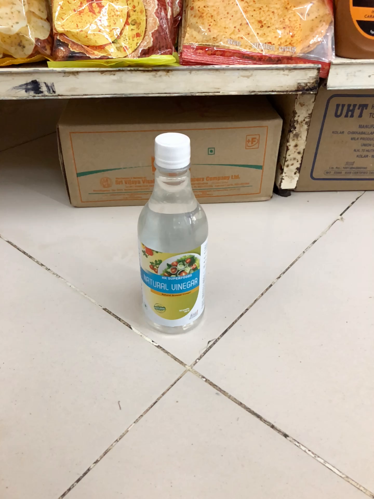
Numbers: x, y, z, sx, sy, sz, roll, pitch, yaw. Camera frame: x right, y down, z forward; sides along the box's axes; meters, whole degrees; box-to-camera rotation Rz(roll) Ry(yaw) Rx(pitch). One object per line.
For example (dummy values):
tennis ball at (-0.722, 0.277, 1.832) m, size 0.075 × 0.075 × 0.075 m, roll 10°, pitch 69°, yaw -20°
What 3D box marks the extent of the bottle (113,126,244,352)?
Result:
bottle at (-0.006, -0.008, 0.423) m, size 0.090 × 0.199 × 0.091 m, roll 1°, pitch 36°, yaw -1°
